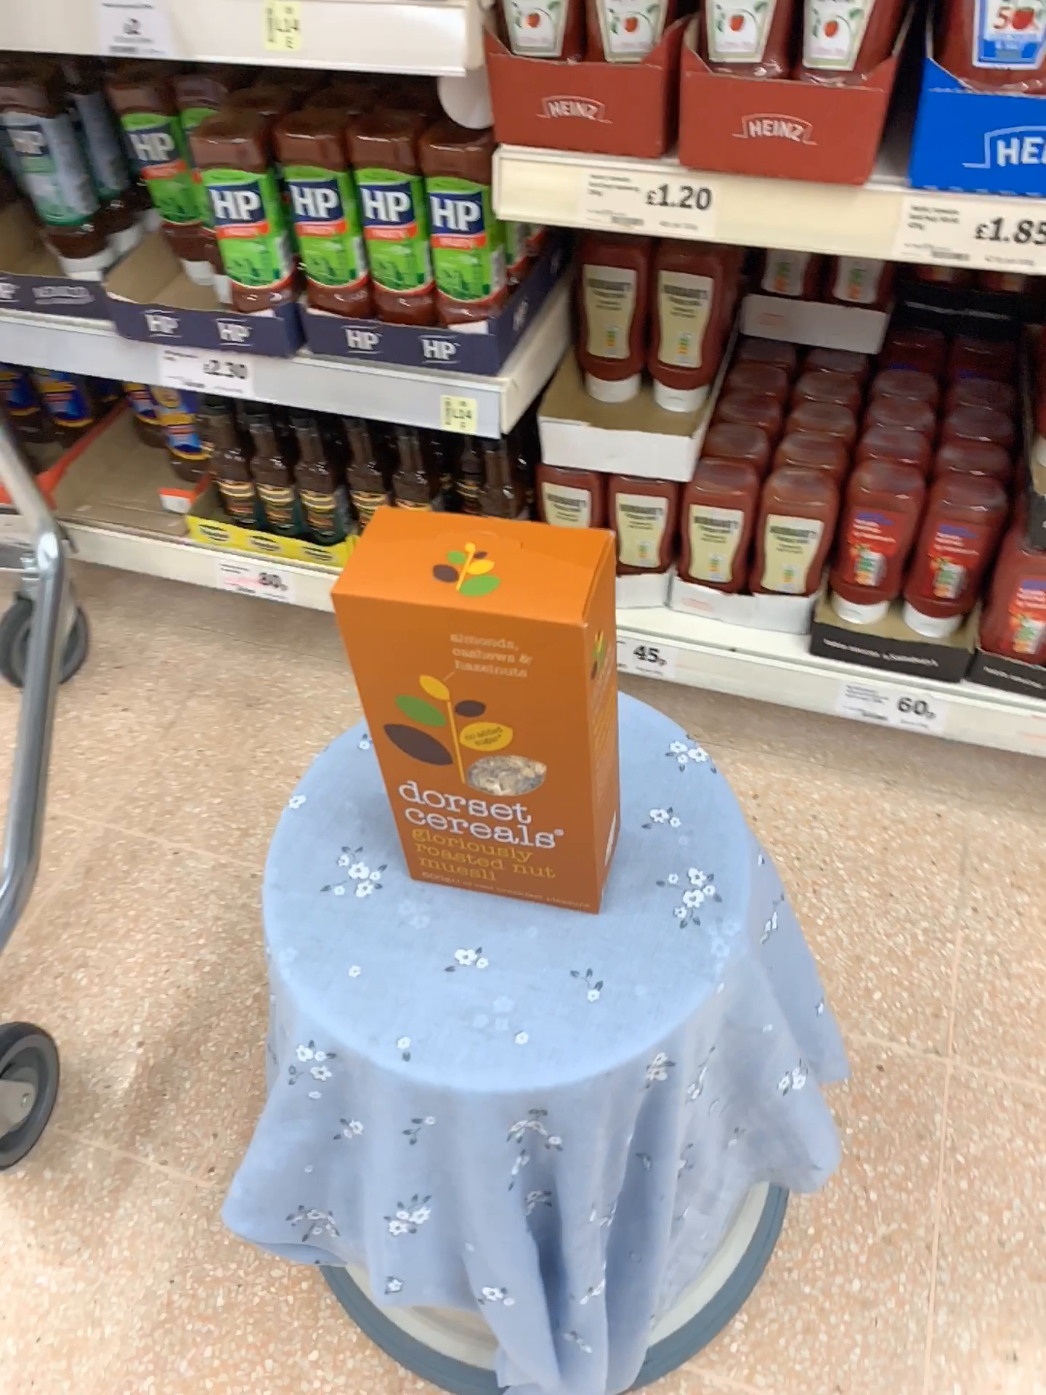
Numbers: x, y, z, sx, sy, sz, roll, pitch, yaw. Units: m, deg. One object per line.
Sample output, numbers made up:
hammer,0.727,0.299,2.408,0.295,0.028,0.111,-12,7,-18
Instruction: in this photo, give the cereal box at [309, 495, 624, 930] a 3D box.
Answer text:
cereal box,-0.016,0.018,0.539,0.120,0.228,0.071,9,49,12
